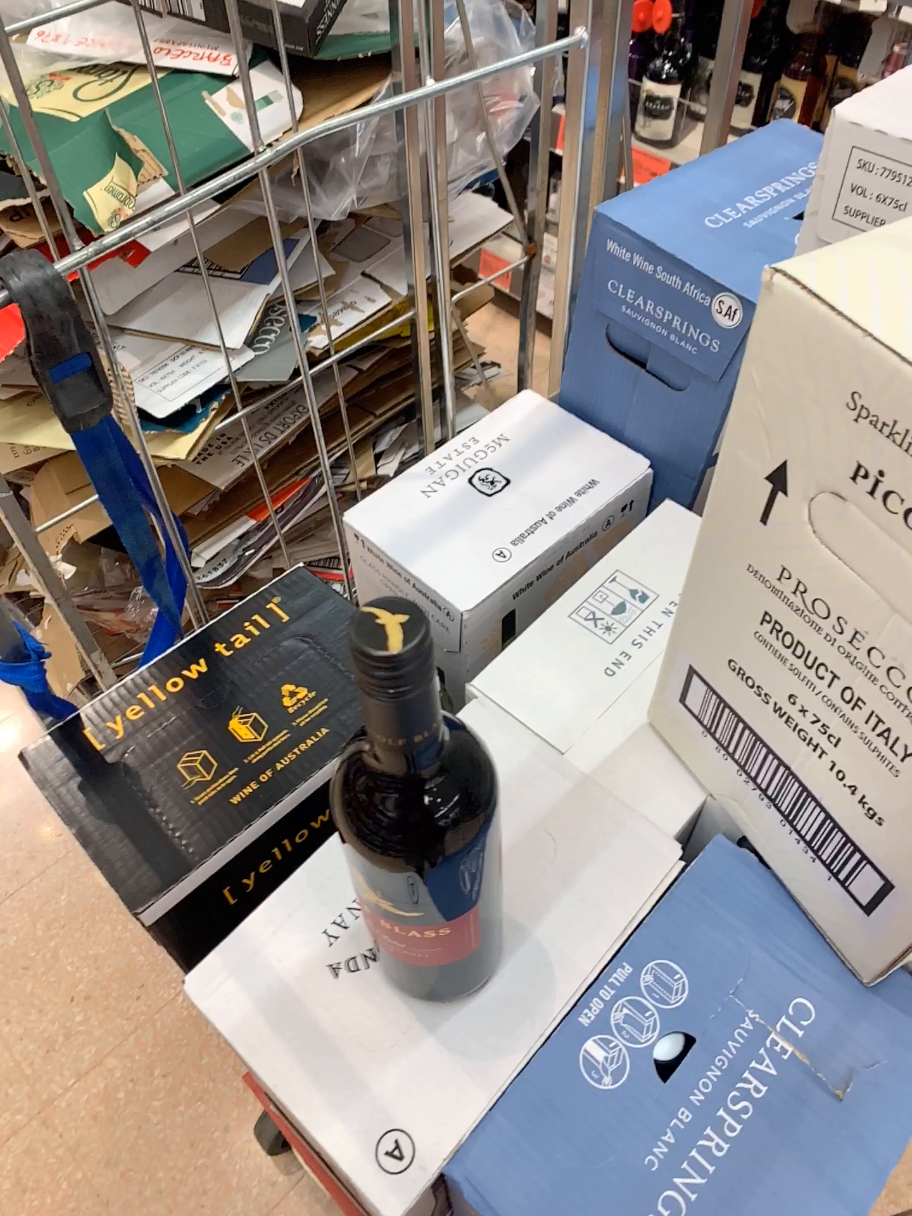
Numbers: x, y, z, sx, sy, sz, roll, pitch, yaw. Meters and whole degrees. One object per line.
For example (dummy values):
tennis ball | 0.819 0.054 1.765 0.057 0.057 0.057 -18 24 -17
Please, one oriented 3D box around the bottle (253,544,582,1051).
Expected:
bottle | -0.011 0.104 0.413 0.080 0.271 0.076 0 51 0
